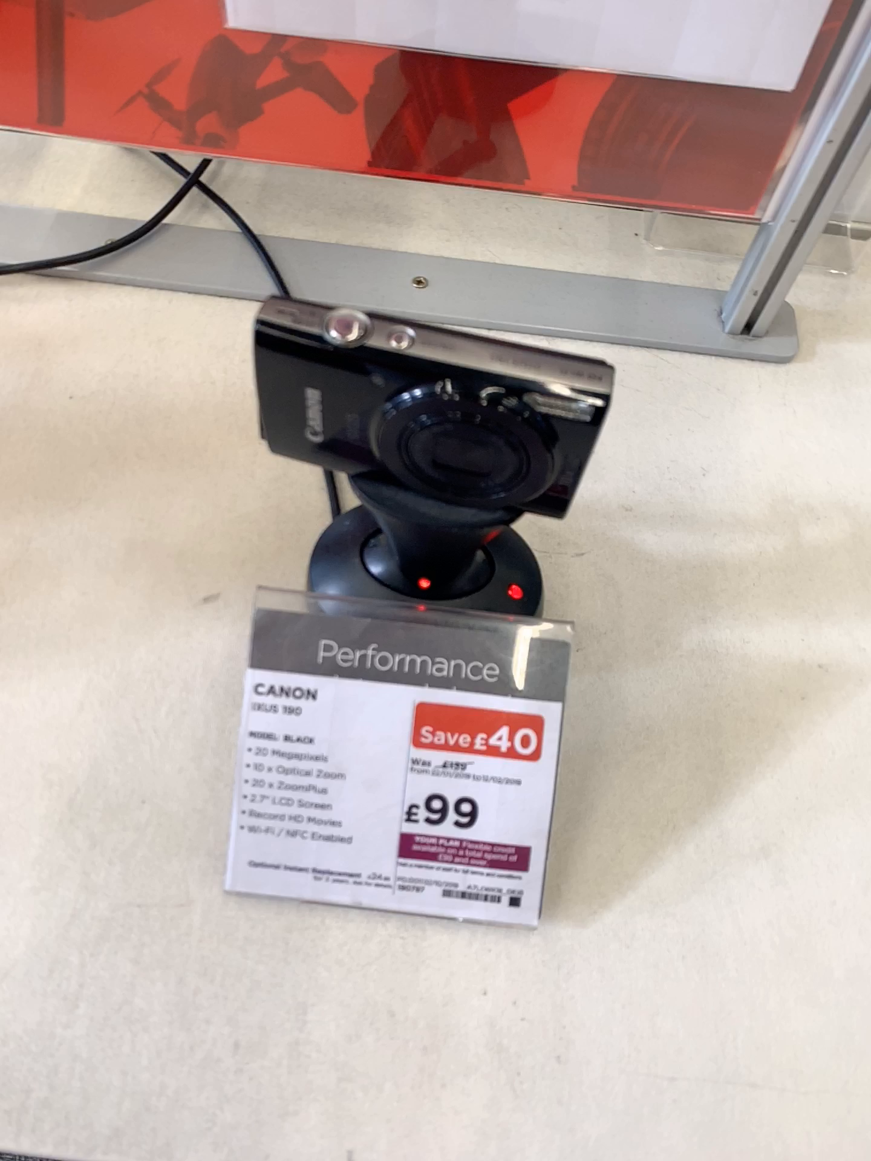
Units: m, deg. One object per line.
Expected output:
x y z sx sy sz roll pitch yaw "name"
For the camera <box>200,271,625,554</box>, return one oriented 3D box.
-0.006 -0.043 0.239 0.100 0.050 0.030 13 61 3 "camera"
